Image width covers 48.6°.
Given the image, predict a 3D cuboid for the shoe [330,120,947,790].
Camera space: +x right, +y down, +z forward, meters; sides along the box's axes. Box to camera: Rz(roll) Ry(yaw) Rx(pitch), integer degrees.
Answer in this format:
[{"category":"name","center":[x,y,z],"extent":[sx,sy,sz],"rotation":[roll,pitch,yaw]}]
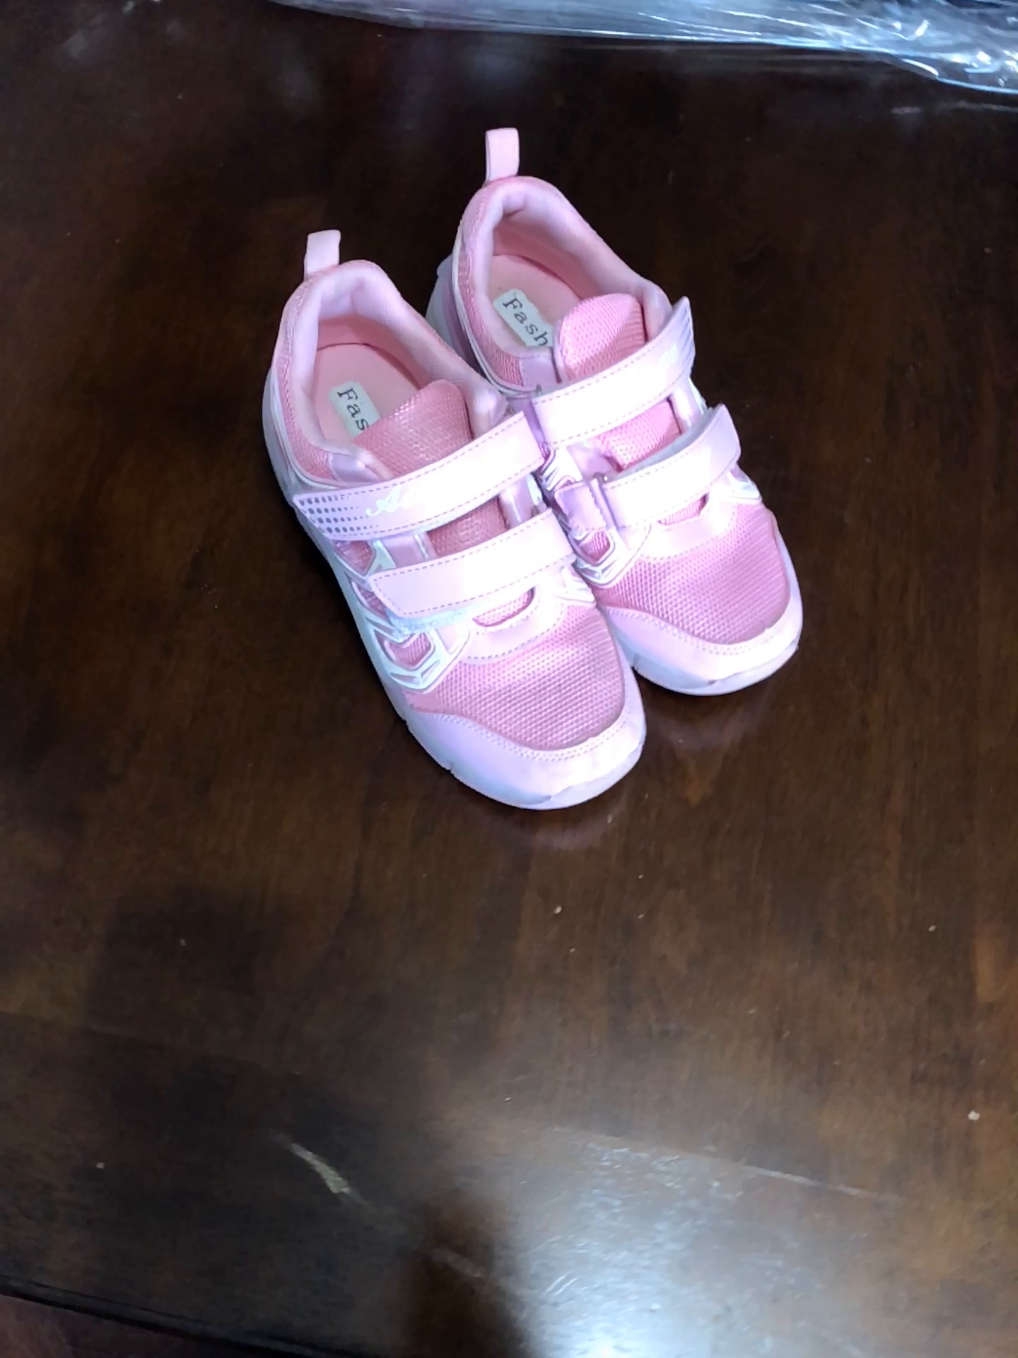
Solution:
[{"category":"shoe","center":[0.042,-0.101,0.495],"extent":[0.110,0.110,0.260],"rotation":[-31,68,-14]}]

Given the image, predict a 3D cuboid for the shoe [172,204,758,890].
[{"category":"shoe","center":[-0.025,-0.057,0.467],"extent":[0.100,0.110,0.250],"rotation":[-30,68,-14]}]
